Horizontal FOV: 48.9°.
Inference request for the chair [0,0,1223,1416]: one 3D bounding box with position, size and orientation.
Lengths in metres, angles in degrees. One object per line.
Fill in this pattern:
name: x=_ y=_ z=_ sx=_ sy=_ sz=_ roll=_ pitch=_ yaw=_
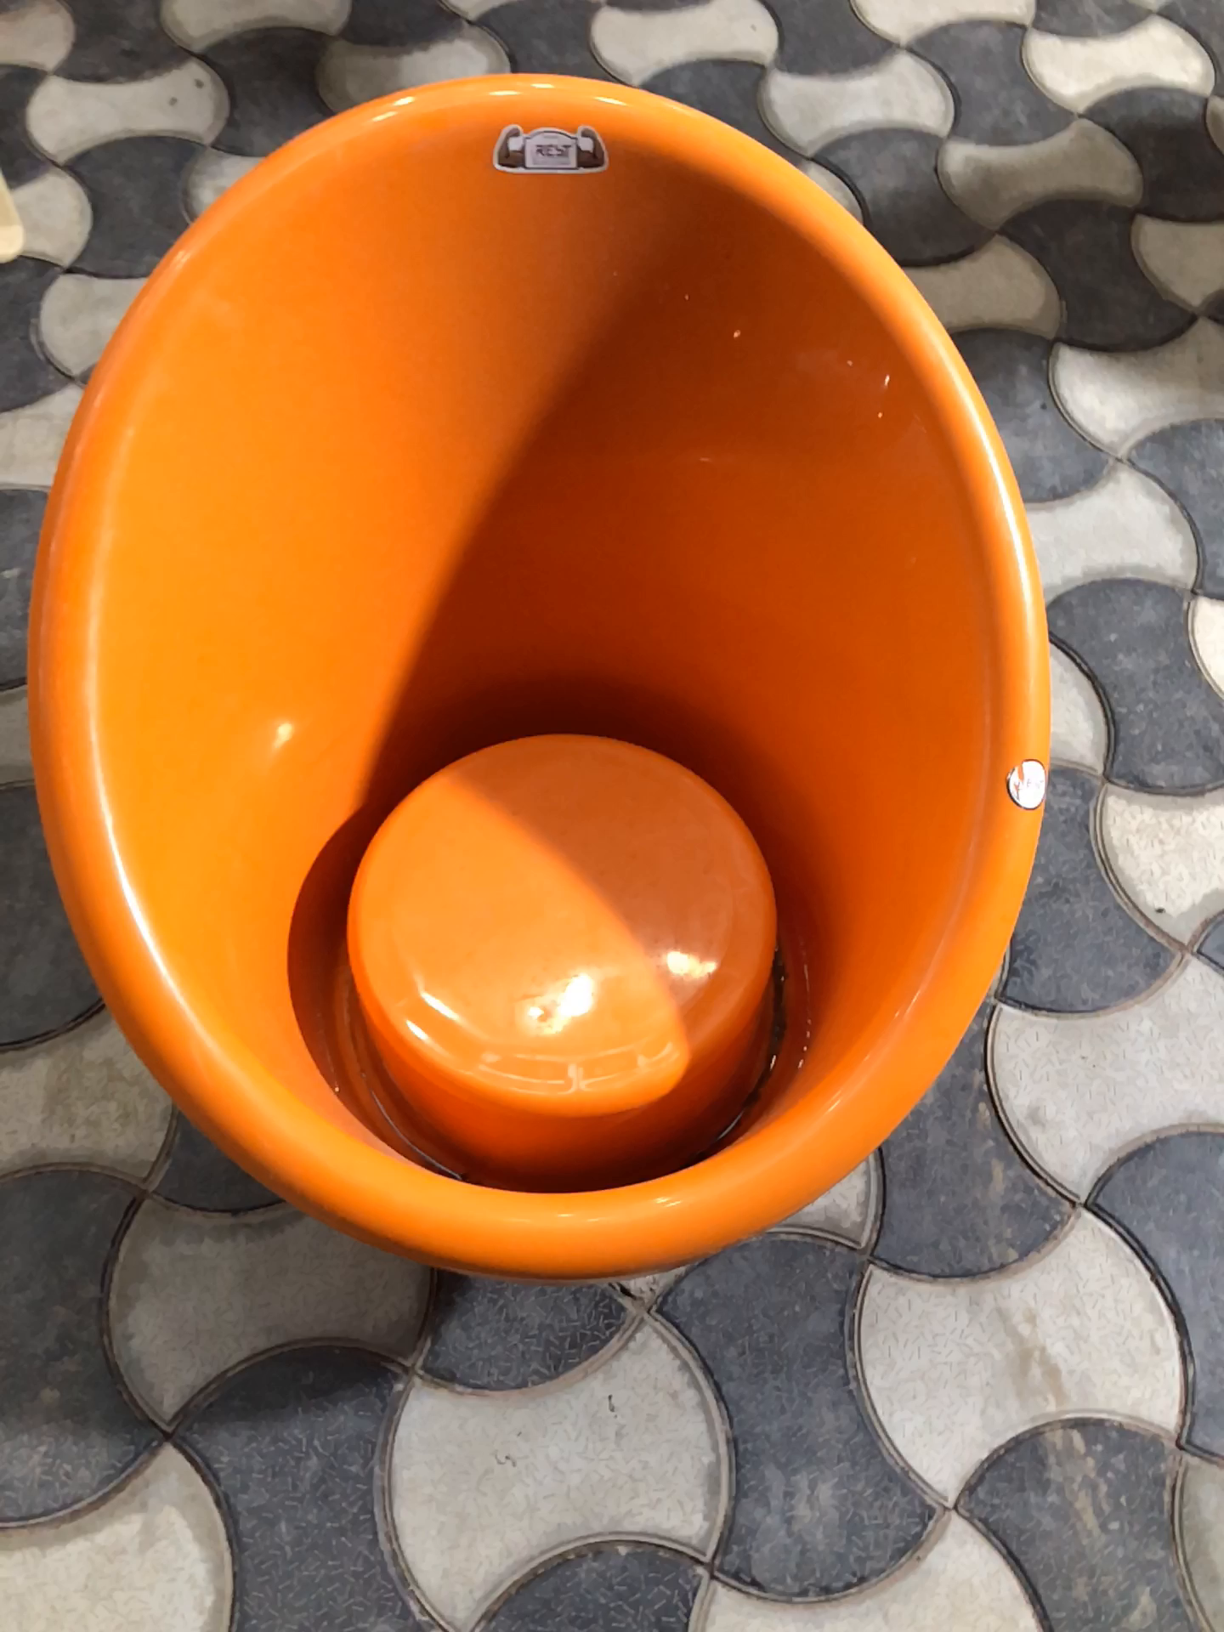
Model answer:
chair: x=-0.072 y=-0.052 z=0.936 sx=0.660 sy=0.667 sz=0.723 roll=-4 pitch=58 yaw=-2
